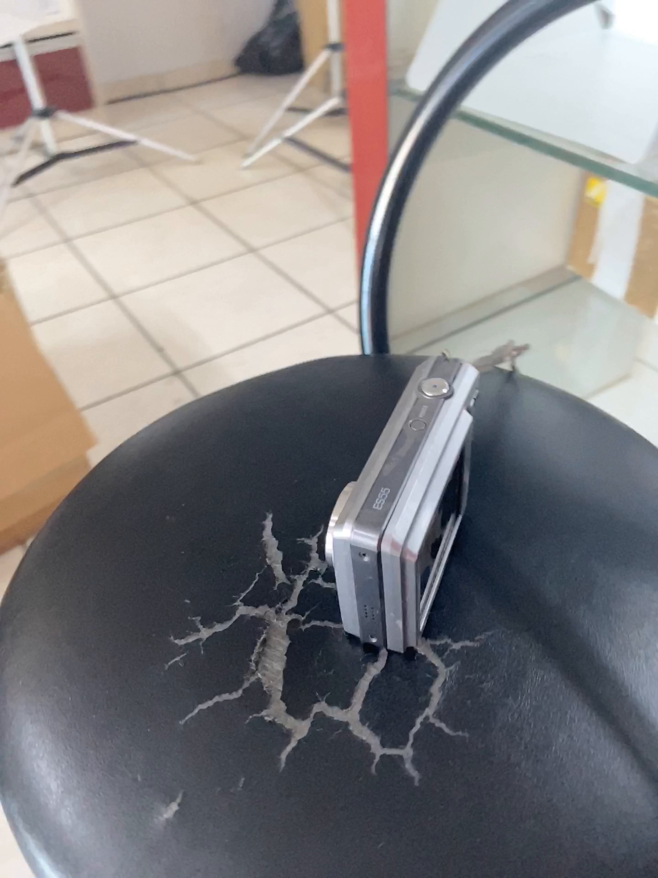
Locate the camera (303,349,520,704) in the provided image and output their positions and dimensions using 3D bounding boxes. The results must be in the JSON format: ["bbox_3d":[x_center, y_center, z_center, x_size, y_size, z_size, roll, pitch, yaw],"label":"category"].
[{"bbox_3d":[0.031,0.026,0.234,0.040,0.070,0.090,14,45,20],"label":"camera"}]
